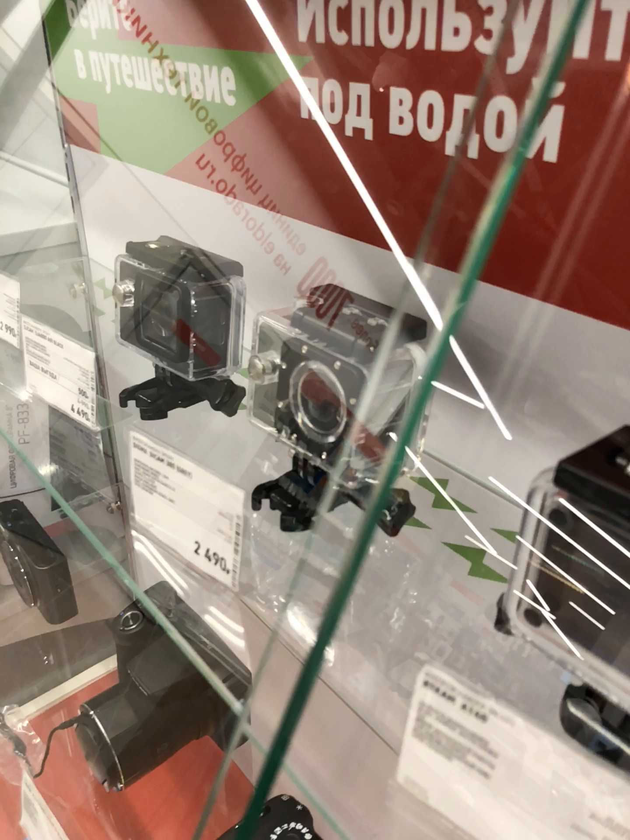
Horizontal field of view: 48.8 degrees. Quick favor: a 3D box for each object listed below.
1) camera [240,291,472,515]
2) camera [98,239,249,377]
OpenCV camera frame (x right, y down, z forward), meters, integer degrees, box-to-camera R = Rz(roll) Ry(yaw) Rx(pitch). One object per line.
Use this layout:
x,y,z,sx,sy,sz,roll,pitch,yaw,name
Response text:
0.013,-0.011,0.277,0.048,0.055,0.077,-19,35,-38,camera
-0.071,-0.057,0.339,0.072,0.045,0.036,27,31,38,camera
